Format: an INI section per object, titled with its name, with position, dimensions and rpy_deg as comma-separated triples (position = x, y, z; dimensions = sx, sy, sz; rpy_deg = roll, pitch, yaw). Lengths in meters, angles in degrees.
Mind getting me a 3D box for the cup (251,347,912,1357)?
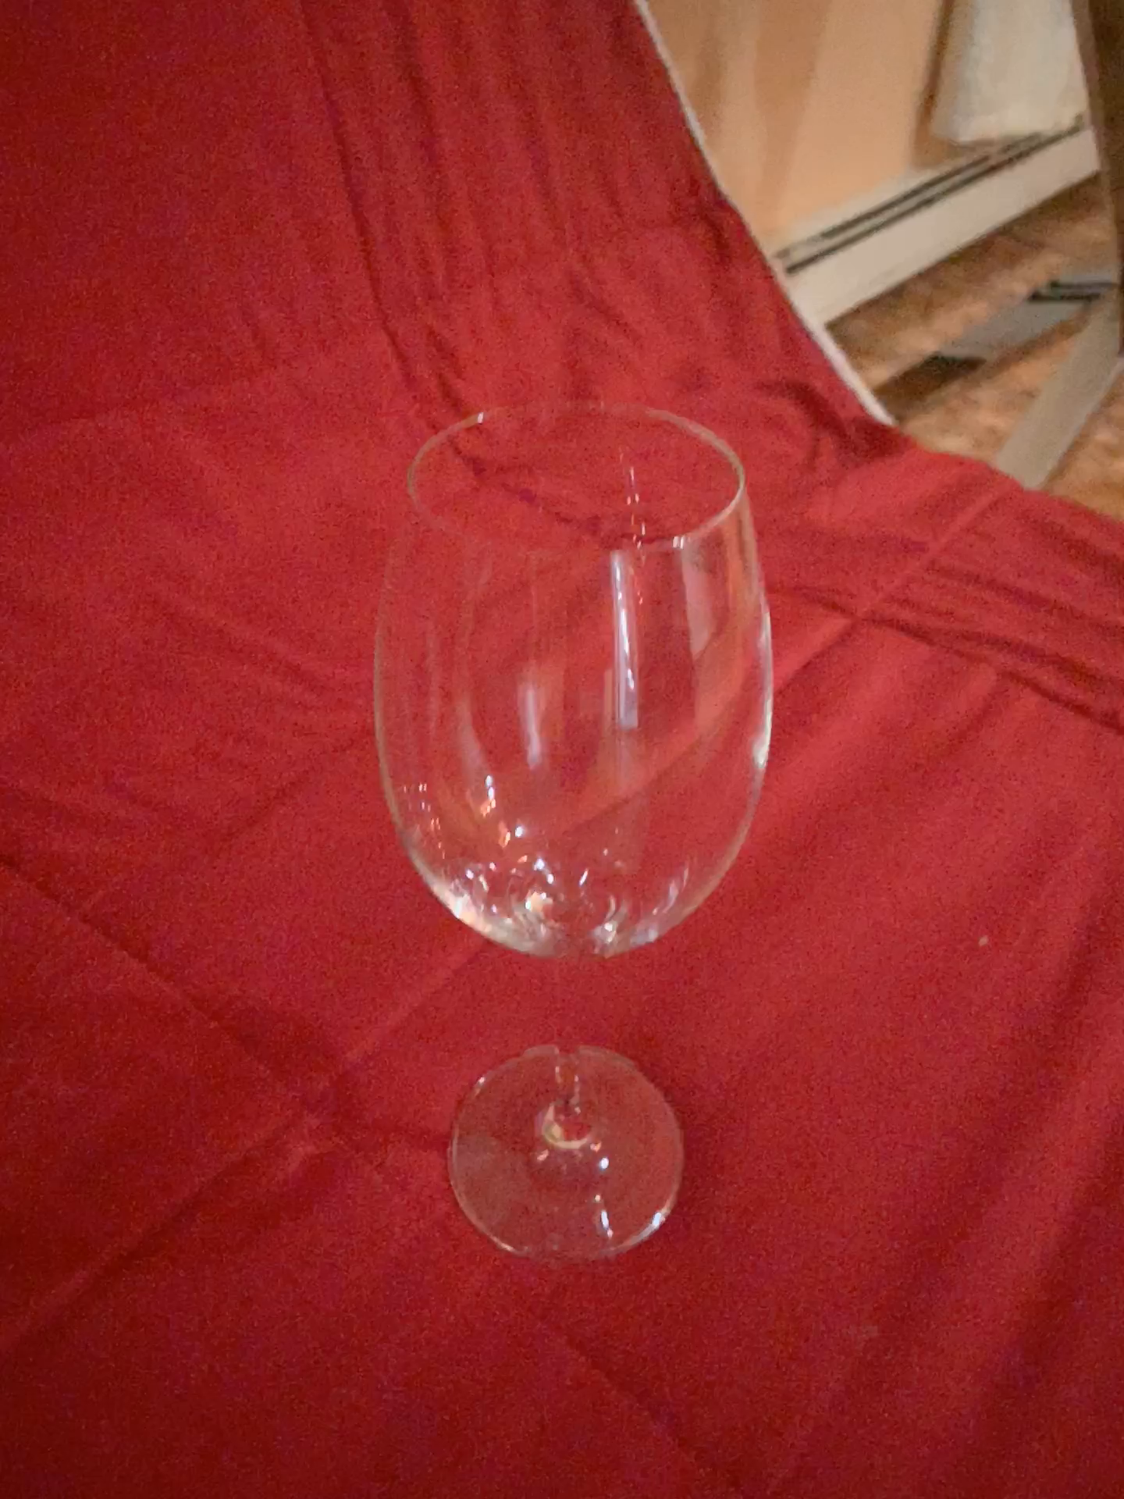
[cup]
position = 0.001, 0.042, 0.300
dimensions = 0.083, 0.246, 0.094
rpy_deg = 32, 49, 28
